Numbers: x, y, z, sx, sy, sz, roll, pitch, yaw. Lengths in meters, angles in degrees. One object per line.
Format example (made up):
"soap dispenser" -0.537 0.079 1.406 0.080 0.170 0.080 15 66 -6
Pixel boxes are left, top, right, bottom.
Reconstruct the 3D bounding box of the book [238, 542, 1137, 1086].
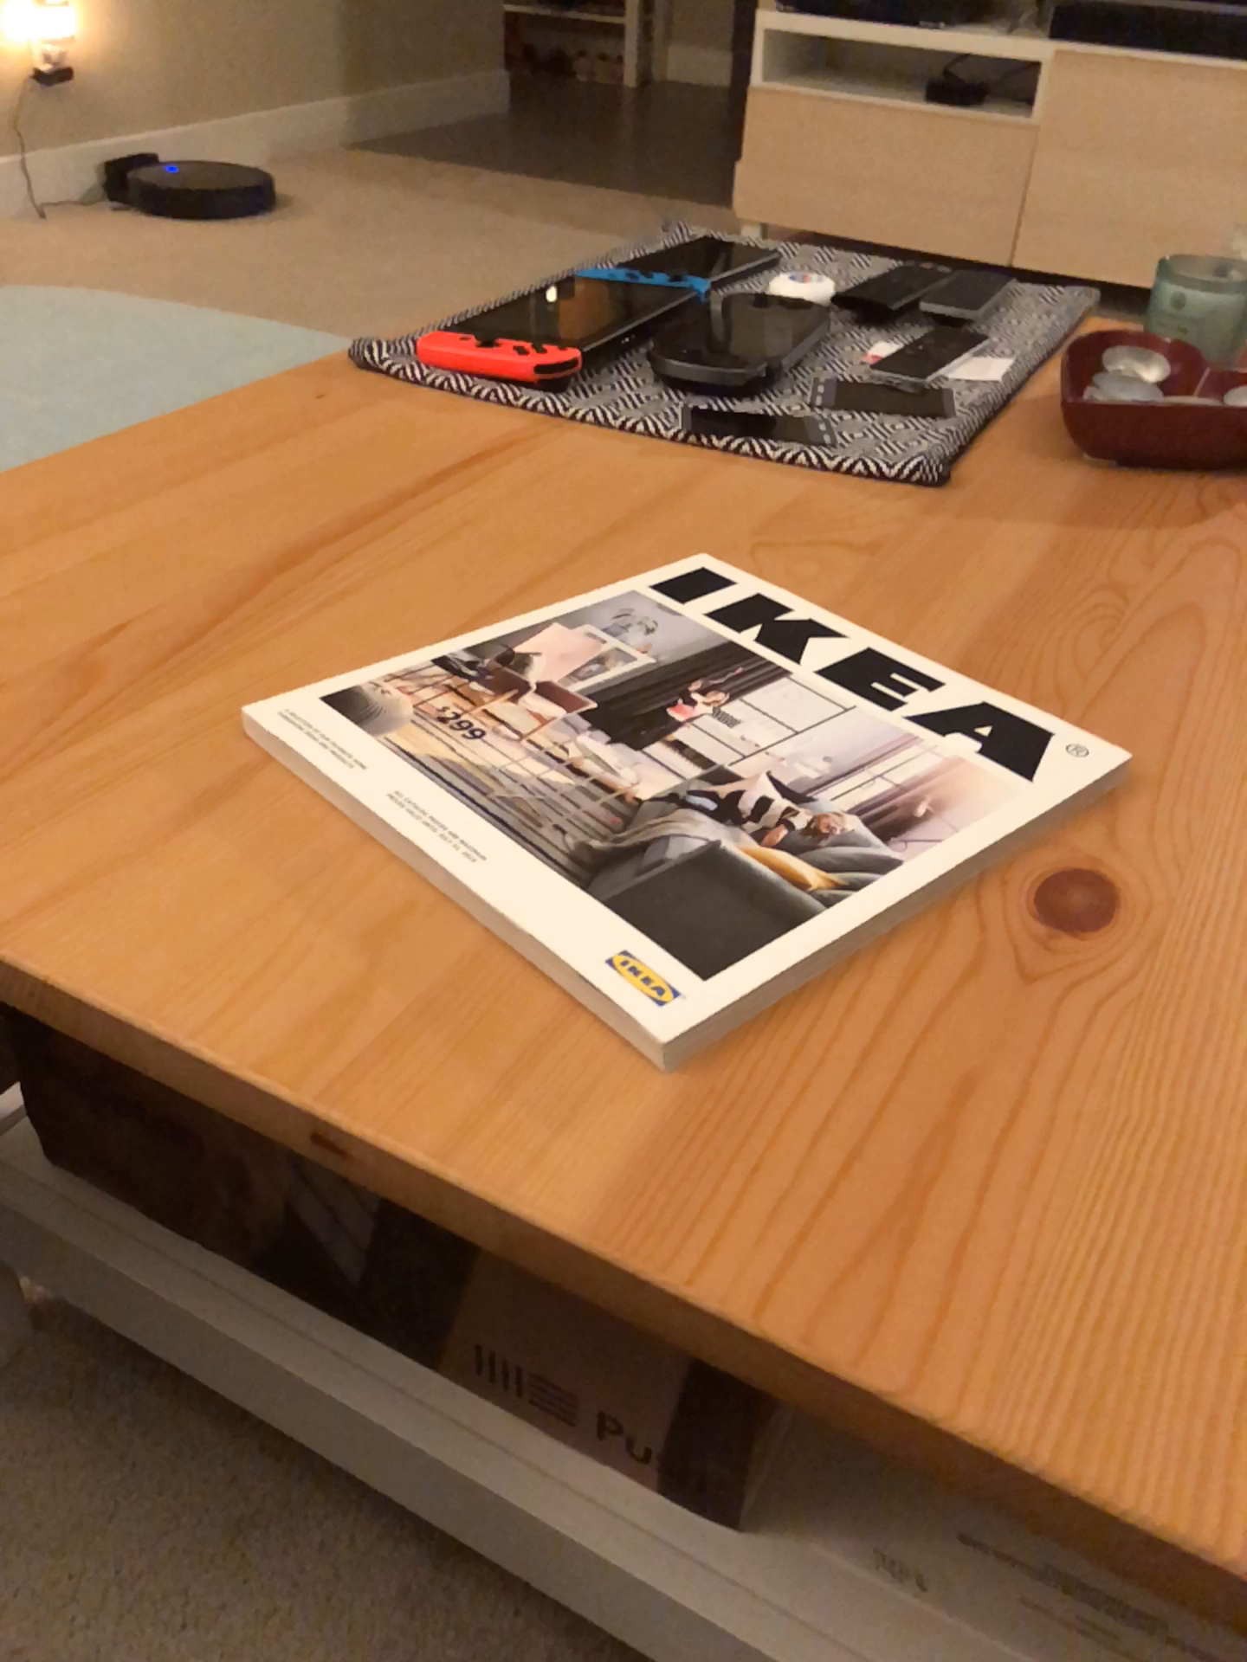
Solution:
"book" 0.021 -0.029 0.463 0.216 0.015 0.211 -26 45 -35
